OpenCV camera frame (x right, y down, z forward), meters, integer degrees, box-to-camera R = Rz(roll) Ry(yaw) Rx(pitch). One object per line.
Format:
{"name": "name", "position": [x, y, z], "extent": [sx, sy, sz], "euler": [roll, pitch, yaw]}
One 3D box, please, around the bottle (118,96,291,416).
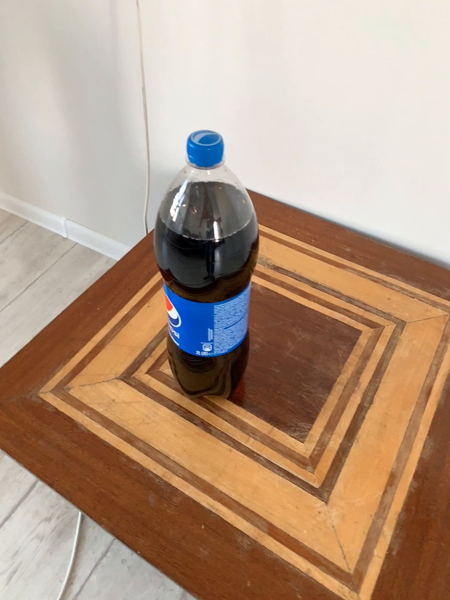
{"name": "bottle", "position": [-0.020, -0.017, 0.489], "extent": [0.100, 0.339, 0.100], "euler": [0, 49, -1]}
